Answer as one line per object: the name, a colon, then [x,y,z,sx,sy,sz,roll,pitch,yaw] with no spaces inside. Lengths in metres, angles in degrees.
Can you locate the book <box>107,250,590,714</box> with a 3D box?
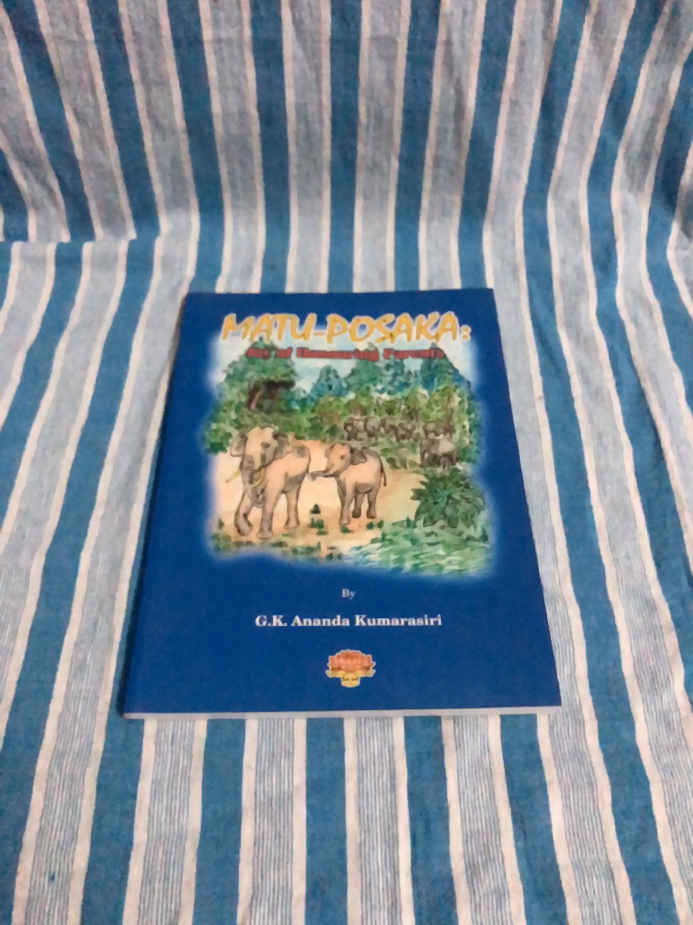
book: [0.001,-0.008,0.344,0.170,0.020,0.231,0,56,1]
